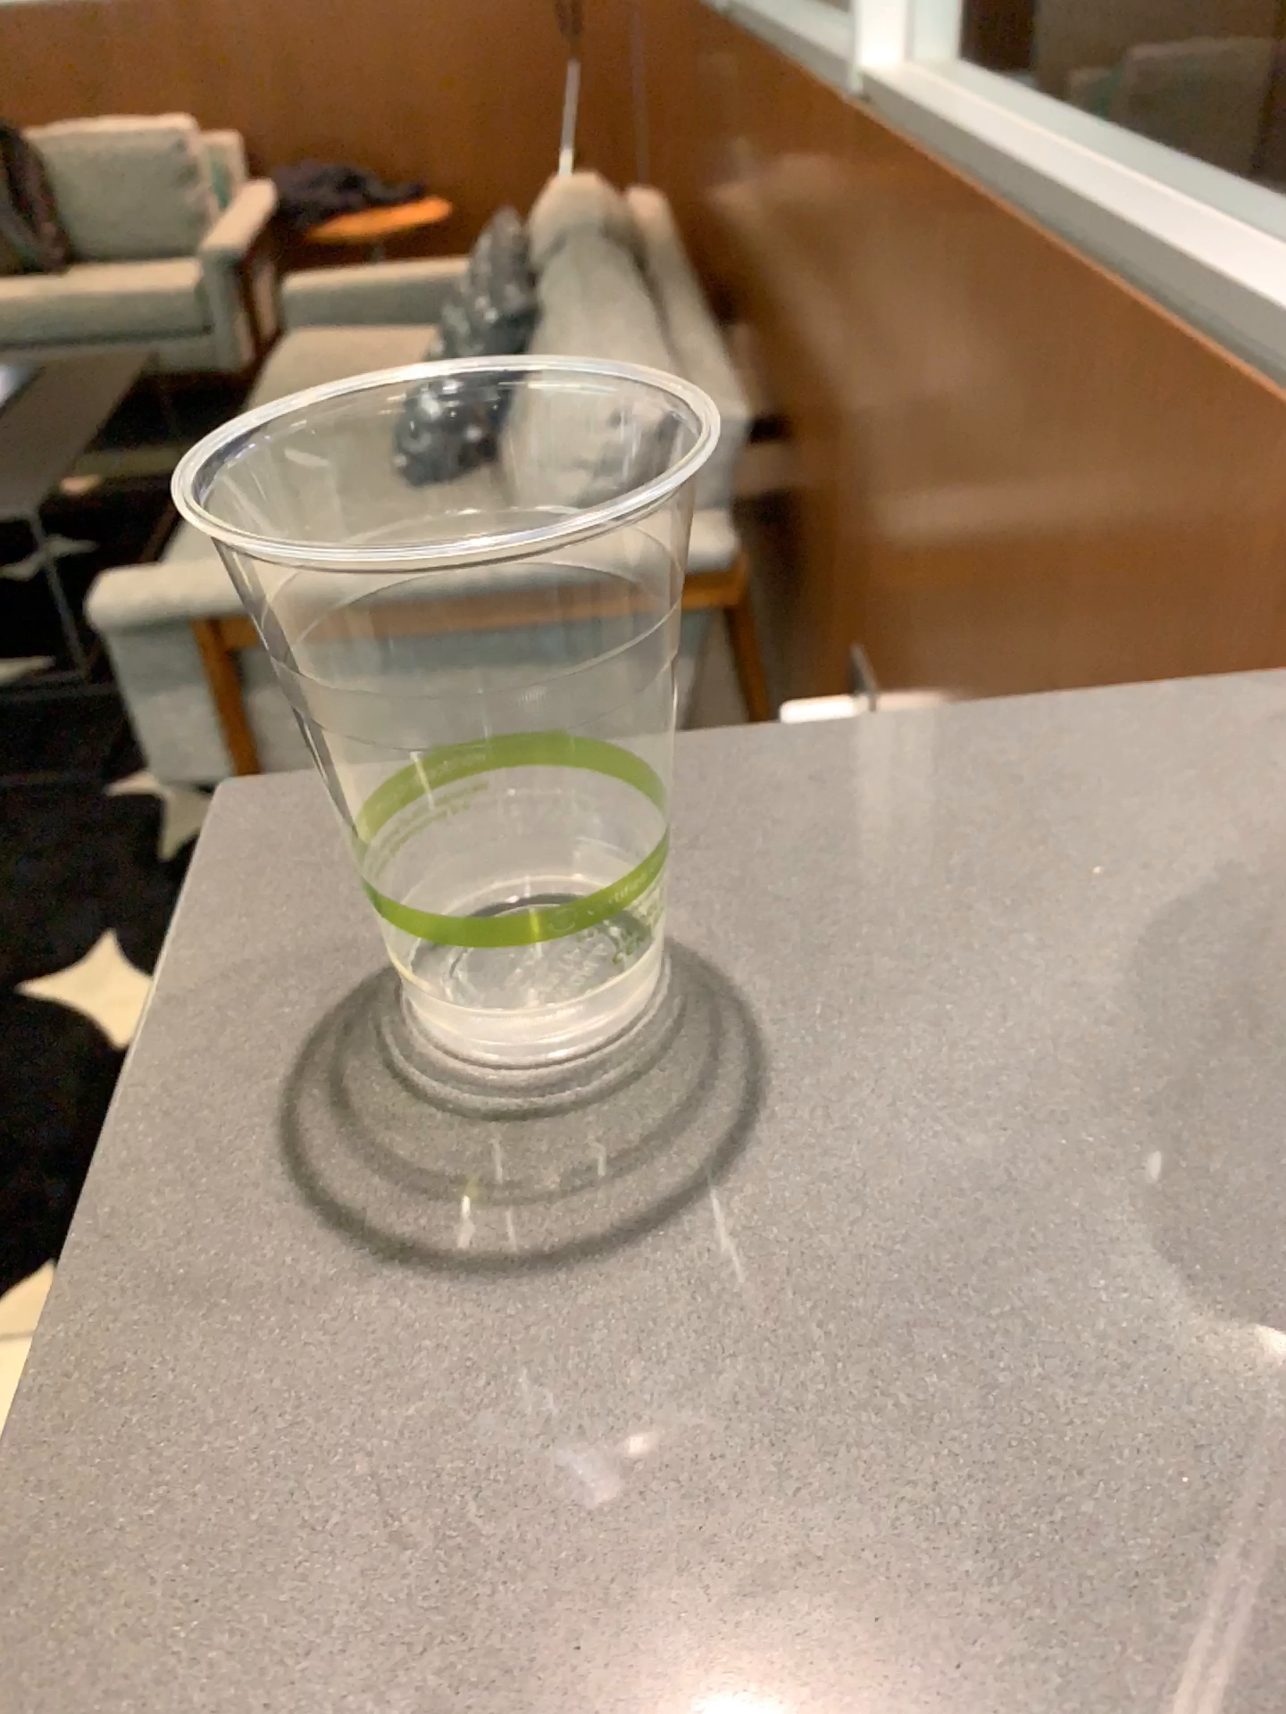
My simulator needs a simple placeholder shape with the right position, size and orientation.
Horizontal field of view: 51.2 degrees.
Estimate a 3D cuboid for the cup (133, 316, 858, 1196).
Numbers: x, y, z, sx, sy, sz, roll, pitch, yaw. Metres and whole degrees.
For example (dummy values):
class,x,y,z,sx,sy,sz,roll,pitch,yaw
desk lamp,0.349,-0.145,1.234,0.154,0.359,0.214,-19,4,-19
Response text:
class,x,y,z,sx,sy,sz,roll,pitch,yaw
cup,-0.026,-0.023,0.258,0.100,0.119,0.101,-3,36,2
